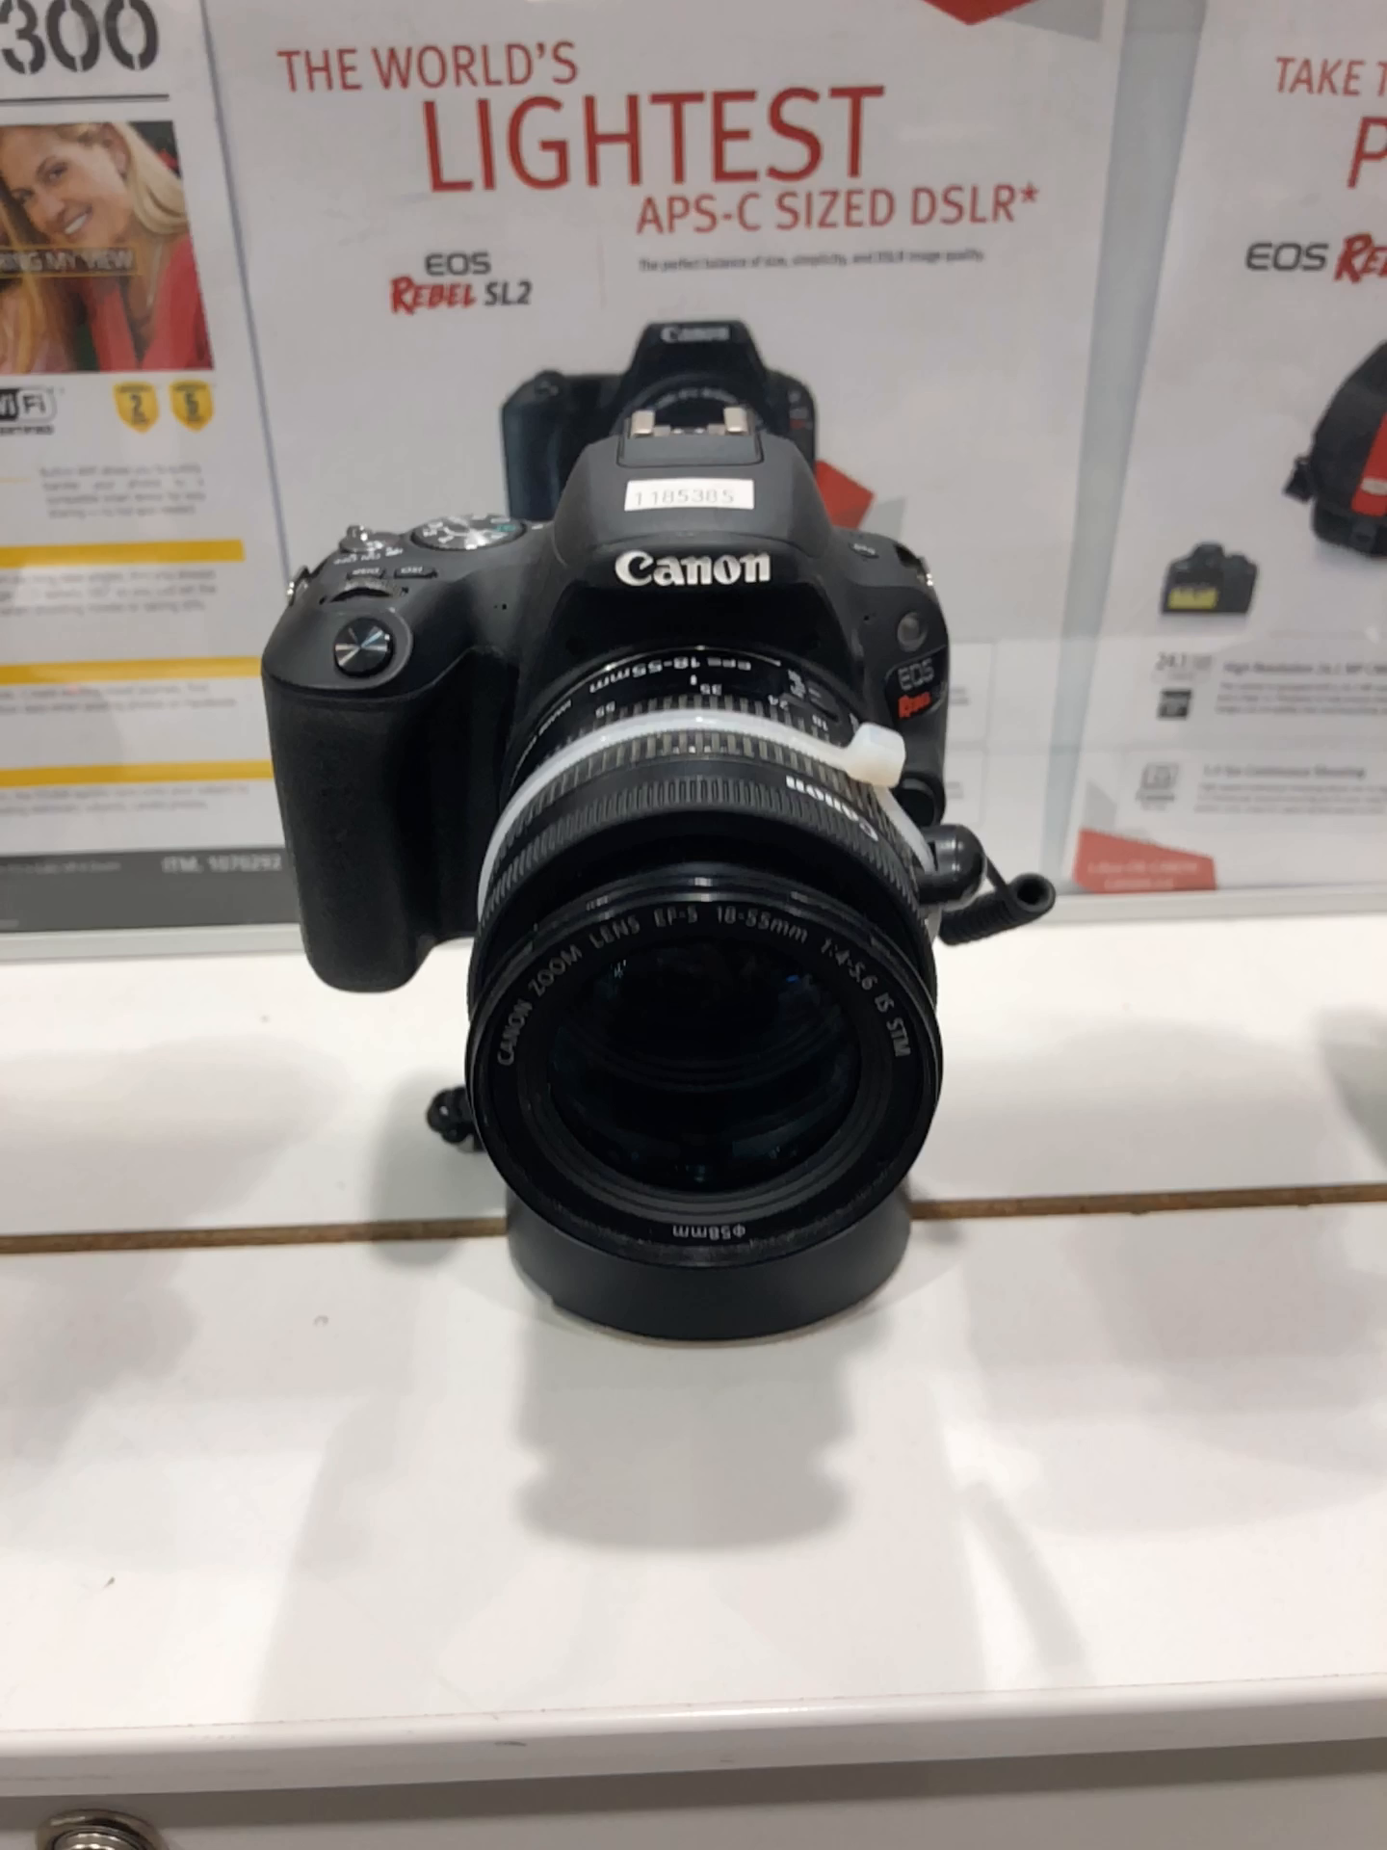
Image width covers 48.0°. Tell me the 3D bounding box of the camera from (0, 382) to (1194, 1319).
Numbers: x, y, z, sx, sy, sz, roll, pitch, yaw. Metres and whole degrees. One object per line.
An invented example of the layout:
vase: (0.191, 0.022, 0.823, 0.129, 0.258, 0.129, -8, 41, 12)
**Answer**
camera: (-0.014, -0.025, 0.248, 0.130, 0.090, 0.141, -3, 29, -3)
